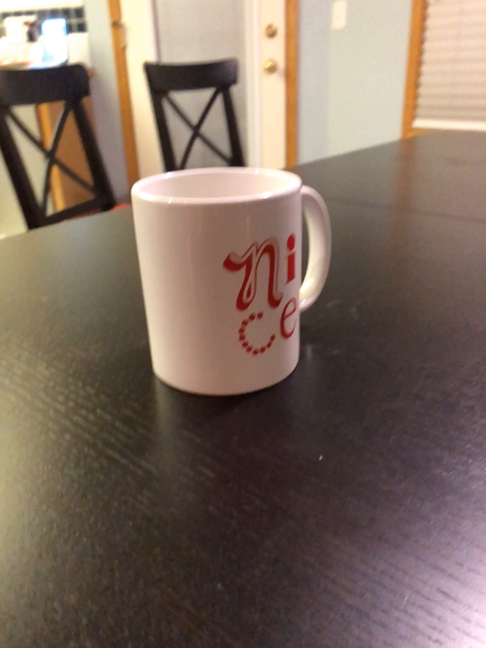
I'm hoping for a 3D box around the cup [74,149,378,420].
[{"bbox_3d":[-0.006,-0.034,0.299,0.120,0.100,0.100,-23,32,-38],"label":"cup"}]
